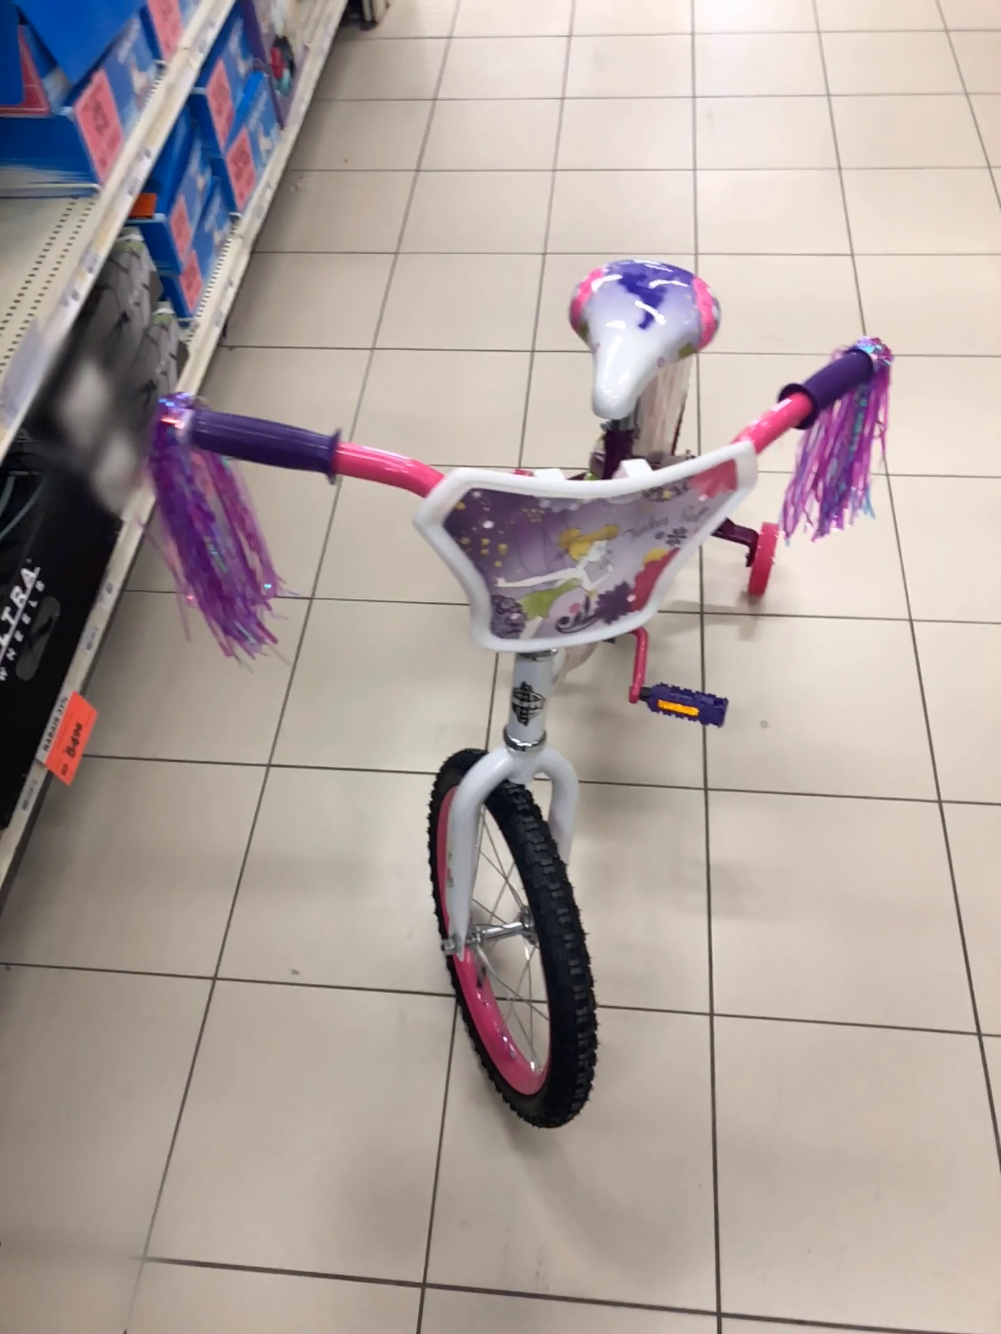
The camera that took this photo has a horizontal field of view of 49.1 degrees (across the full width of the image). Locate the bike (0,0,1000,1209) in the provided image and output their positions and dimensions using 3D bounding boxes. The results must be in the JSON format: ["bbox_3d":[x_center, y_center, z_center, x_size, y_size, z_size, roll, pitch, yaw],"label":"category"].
[{"bbox_3d":[0.137,-0.146,1.158,0.595,0.809,1.071,7,55,9],"label":"bike"}]
